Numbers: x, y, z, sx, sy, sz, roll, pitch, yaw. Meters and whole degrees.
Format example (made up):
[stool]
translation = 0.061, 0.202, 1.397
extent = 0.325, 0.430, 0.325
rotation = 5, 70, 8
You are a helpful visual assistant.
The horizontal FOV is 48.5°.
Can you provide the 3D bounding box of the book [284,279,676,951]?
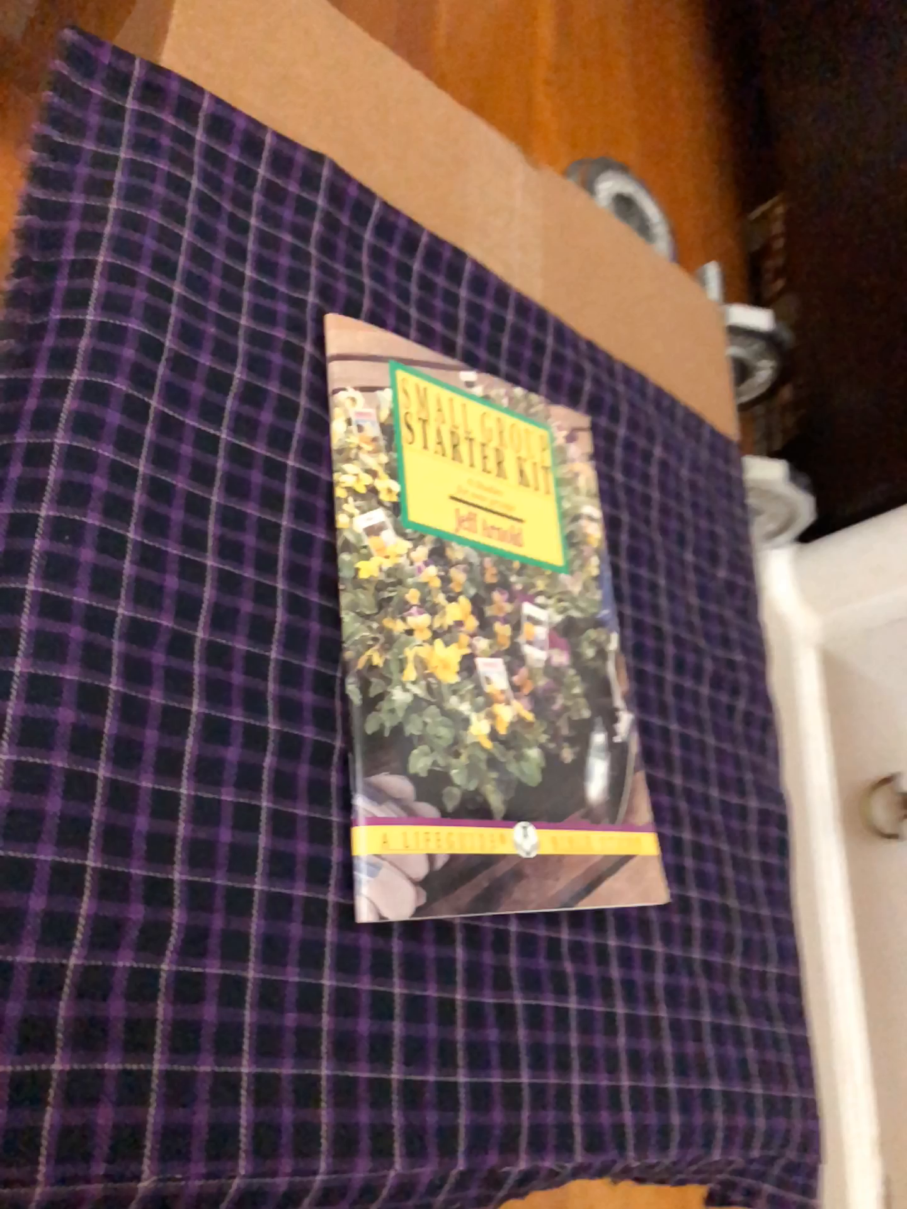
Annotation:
[book]
translation = 0.011, 0.003, 0.362
extent = 0.151, 0.010, 0.220
rotation = 11, 64, -39
